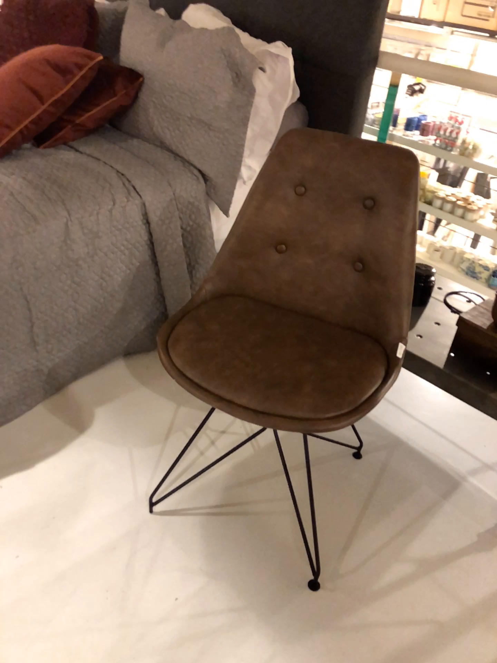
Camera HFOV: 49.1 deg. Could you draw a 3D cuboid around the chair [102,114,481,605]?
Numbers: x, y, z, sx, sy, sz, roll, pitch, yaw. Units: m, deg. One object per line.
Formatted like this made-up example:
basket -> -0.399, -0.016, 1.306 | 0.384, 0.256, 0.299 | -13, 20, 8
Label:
chair -> 0.086, 0.021, 1.168 | 0.510, 0.754, 0.554 | 19, 35, 18
